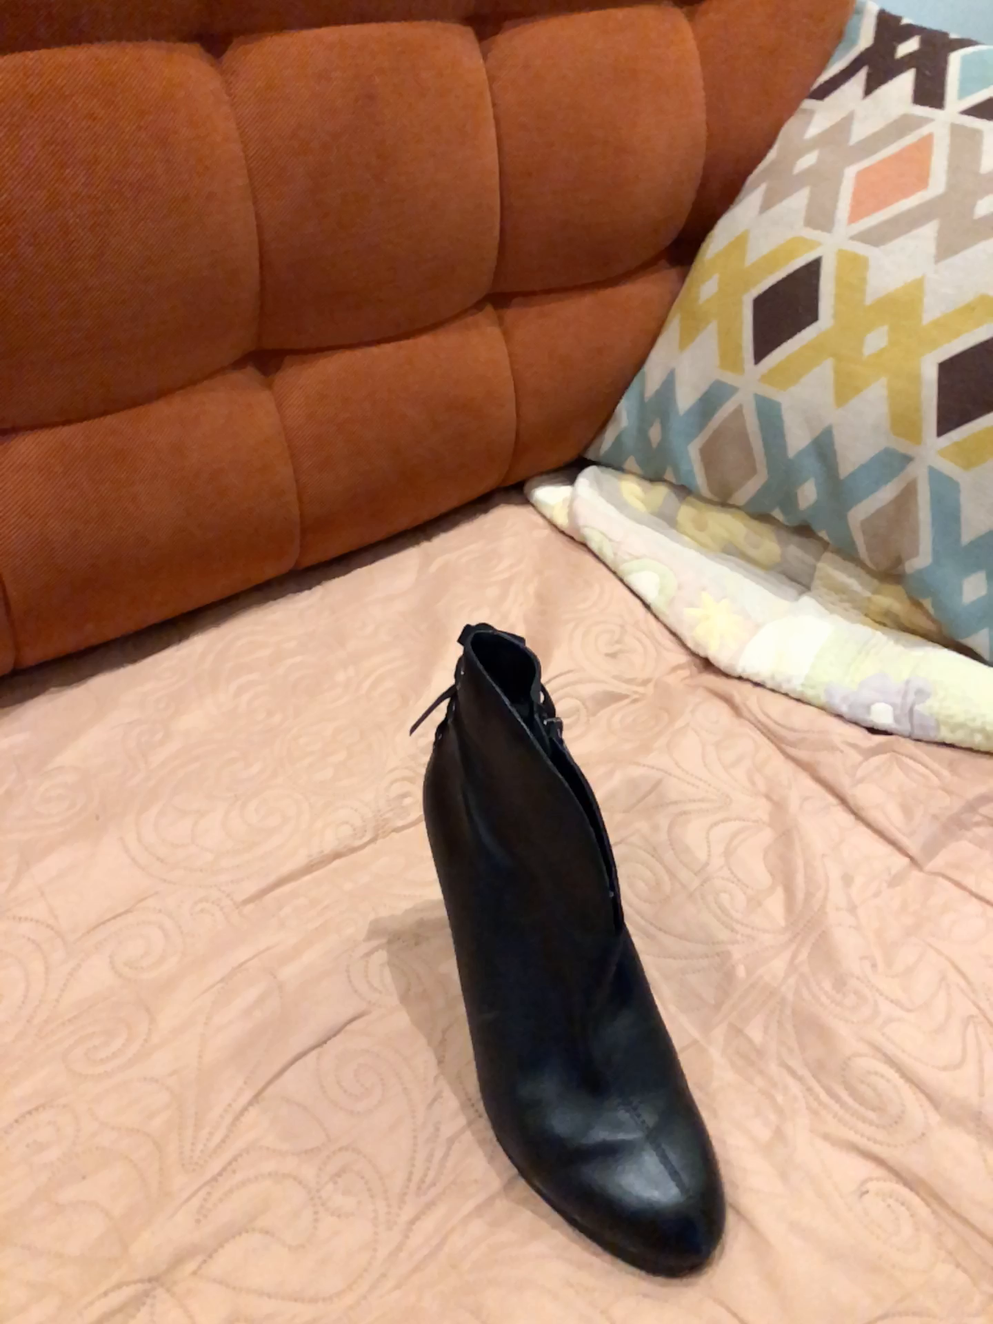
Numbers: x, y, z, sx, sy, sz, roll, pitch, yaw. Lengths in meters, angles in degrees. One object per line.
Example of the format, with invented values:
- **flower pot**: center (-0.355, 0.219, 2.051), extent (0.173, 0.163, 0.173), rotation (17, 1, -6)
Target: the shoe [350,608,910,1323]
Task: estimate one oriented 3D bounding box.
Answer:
- **shoe**: center (0.029, 0.118, 0.447), extent (0.096, 0.169, 0.221), rotation (-17, 44, -25)
